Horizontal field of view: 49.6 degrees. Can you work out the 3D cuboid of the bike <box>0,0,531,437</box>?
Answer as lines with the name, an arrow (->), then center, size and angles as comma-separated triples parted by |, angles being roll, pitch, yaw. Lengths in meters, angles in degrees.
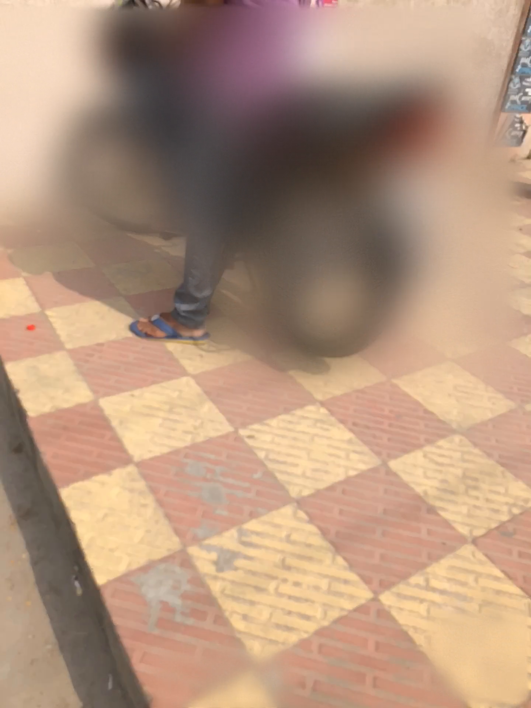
bike -> -0.293, -0.713, 2.009 | 1.722, 1.065, 0.897 | 29, 39, 32
